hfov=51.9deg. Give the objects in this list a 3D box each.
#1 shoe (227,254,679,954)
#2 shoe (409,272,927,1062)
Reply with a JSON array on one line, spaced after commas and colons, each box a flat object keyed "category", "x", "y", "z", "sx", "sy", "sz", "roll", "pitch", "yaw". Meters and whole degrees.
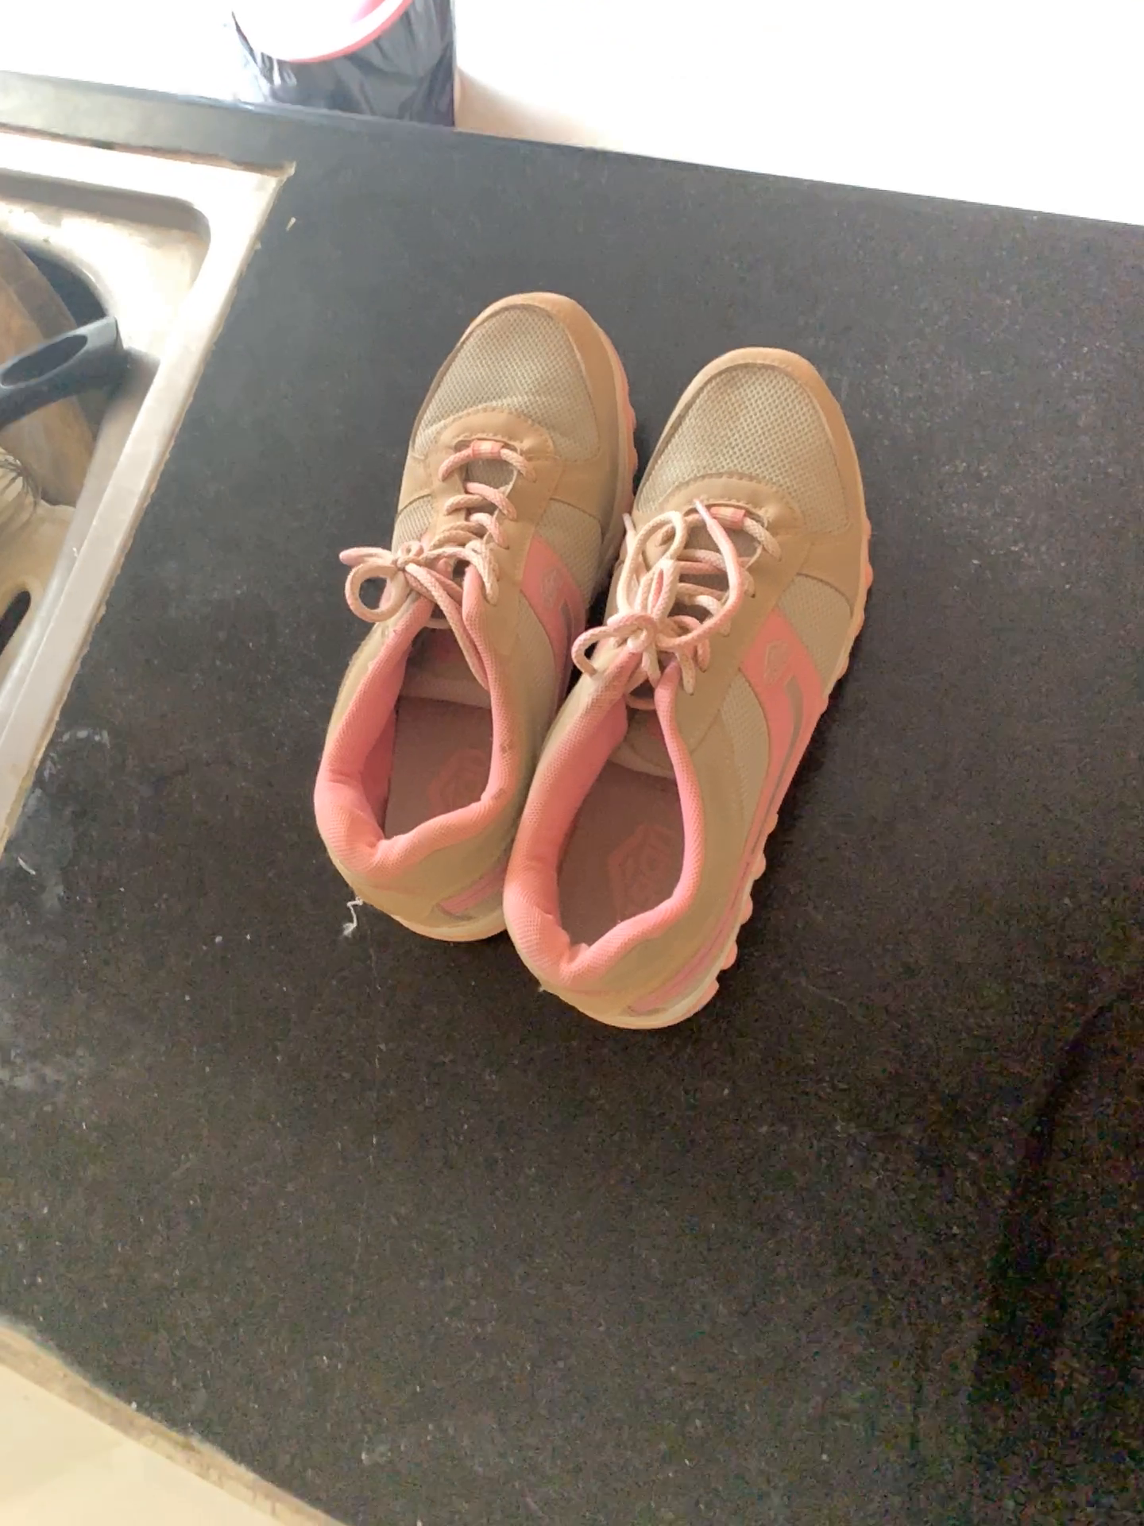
[{"category": "shoe", "x": -0.034, "y": -0.055, "z": 0.439, "sx": 0.090, "sy": 0.100, "sz": 0.230, "roll": 9, "pitch": 79, "yaw": 16}, {"category": "shoe", "x": 0.043, "y": -0.030, "z": 0.411, "sx": 0.100, "sy": 0.100, "sz": 0.240, "roll": 14, "pitch": 80, "yaw": 17}]
